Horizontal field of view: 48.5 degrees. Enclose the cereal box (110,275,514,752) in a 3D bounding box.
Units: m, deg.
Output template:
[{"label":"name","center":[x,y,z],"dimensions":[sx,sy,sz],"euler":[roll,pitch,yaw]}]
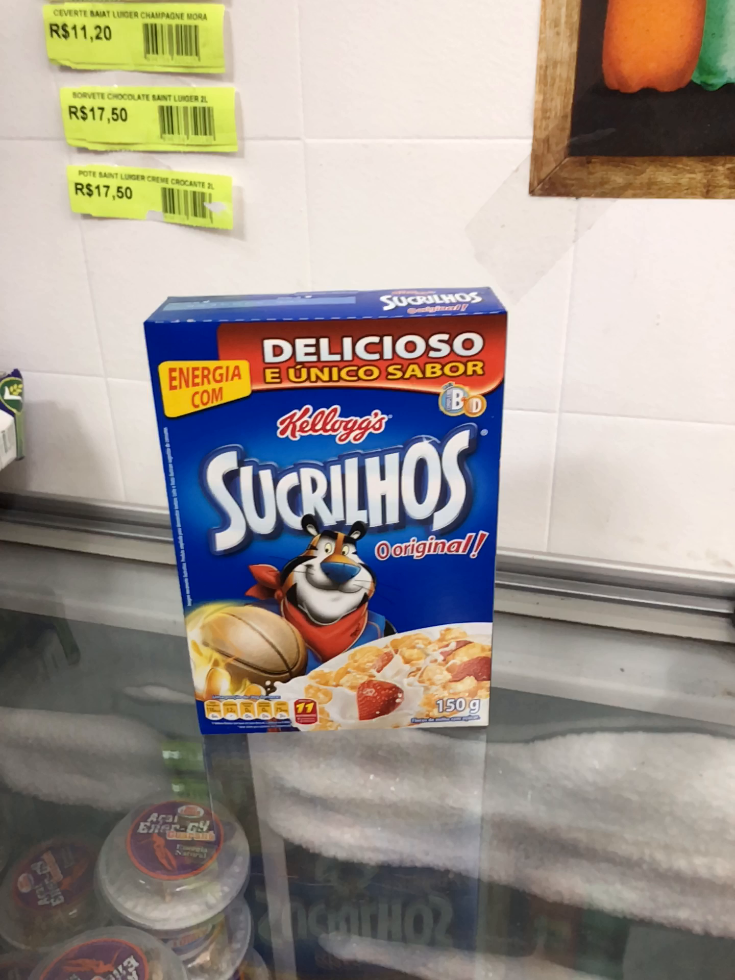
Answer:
[{"label":"cereal box","center":[-0.018,0.015,0.349],"dimensions":[0.140,0.199,0.050],"euler":[-2,26,-1]}]
